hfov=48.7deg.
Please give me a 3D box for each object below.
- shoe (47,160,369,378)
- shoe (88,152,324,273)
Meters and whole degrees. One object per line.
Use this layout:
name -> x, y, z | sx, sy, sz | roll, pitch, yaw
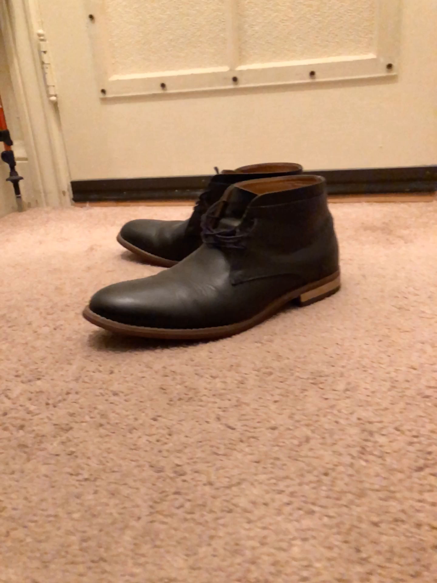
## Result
shoe -> 0.002, -0.045, 0.502 | 0.303, 0.135, 0.116 | -16, 25, -28
shoe -> -0.010, -0.115, 0.683 | 0.302, 0.135, 0.117 | 2, 23, 16
